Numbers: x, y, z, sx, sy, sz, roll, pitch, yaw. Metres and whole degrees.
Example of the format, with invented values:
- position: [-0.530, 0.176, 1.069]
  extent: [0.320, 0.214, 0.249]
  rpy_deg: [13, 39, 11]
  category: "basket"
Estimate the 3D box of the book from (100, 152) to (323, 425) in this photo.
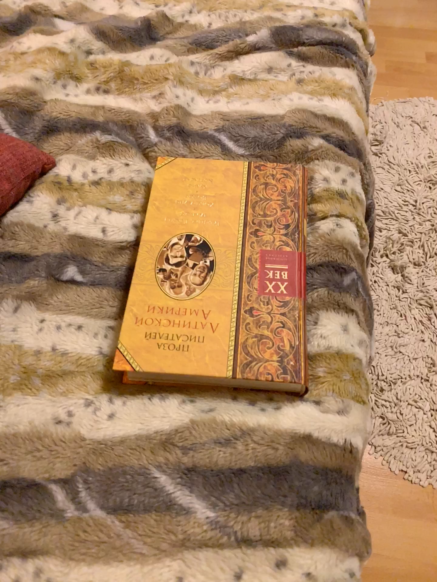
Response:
- position: [0.005, -0.017, 0.451]
  extent: [0.180, 0.060, 0.272]
  rpy_deg: [4, 60, 3]
  category: "book"
